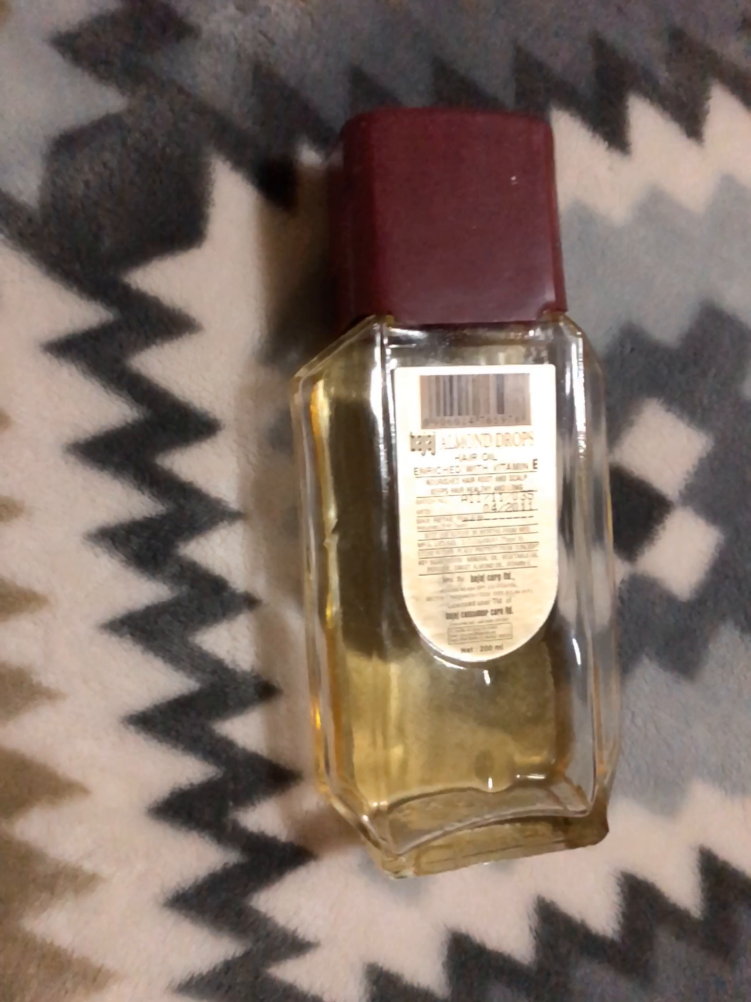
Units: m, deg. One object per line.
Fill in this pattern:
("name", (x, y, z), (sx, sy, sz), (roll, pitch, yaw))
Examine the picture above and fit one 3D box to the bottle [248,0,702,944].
("bottle", (0.020, -0.010, 0.193), (0.080, 0.040, 0.190), (-5, 90, -12))
